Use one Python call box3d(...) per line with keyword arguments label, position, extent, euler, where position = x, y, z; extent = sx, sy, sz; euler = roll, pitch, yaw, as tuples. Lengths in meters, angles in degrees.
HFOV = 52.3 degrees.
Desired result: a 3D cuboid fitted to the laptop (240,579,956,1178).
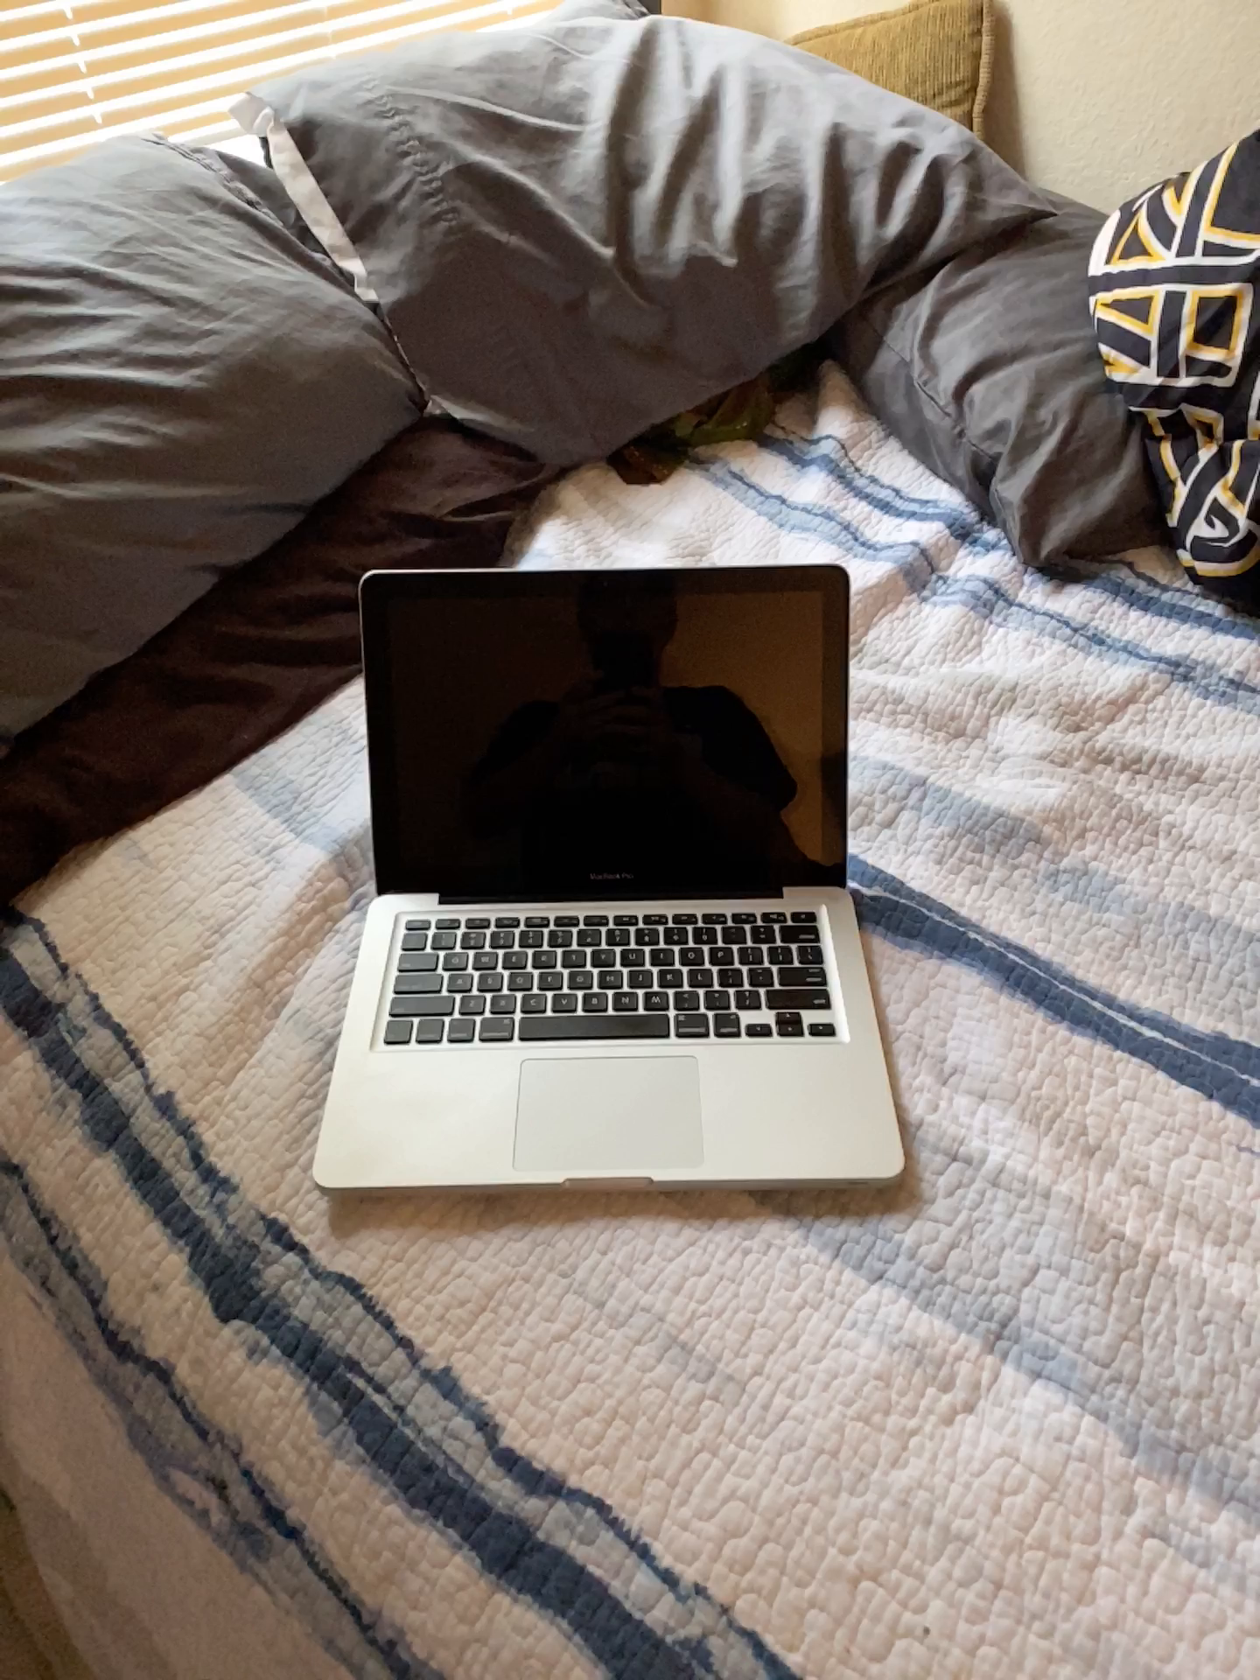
box3d(label="laptop", position=(-0.015, 0.006, 0.762), extent=(0.319, 0.169, 0.348), euler=(-1, 41, 1))
